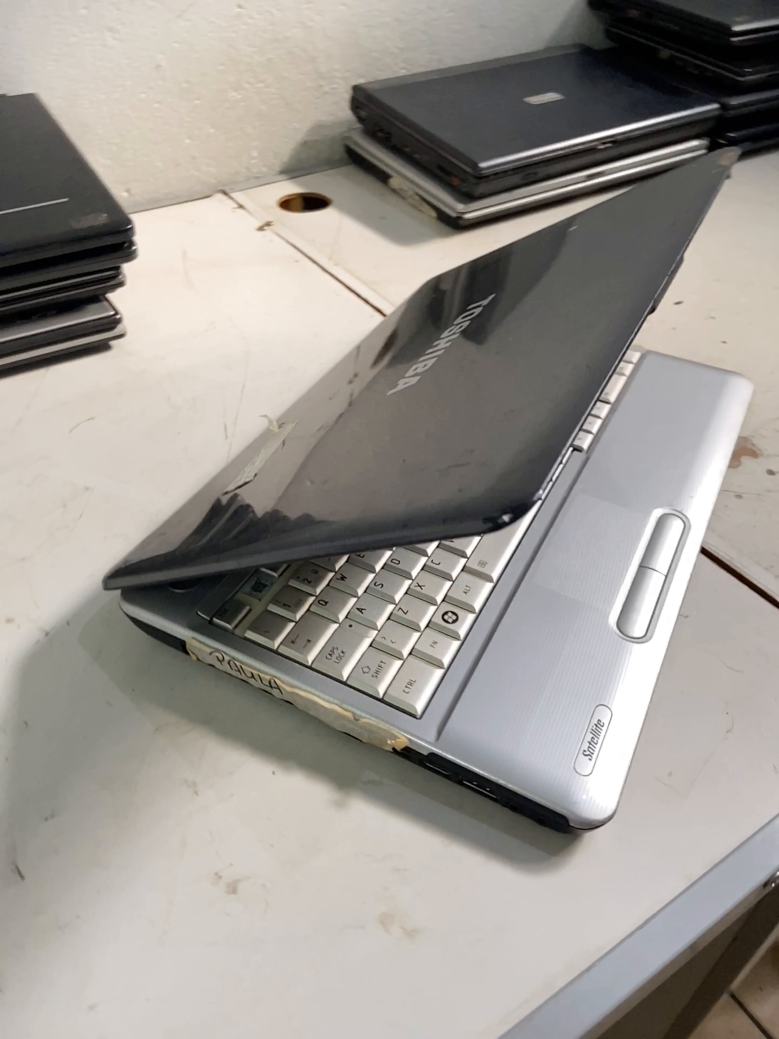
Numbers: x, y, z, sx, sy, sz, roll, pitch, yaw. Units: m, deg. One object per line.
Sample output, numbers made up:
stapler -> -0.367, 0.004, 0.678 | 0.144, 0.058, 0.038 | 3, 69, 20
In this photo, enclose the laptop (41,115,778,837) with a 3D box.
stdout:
laptop -> 0.061, -0.079, 0.441 | 0.255, 0.143, 0.373 | 20, 45, 19
